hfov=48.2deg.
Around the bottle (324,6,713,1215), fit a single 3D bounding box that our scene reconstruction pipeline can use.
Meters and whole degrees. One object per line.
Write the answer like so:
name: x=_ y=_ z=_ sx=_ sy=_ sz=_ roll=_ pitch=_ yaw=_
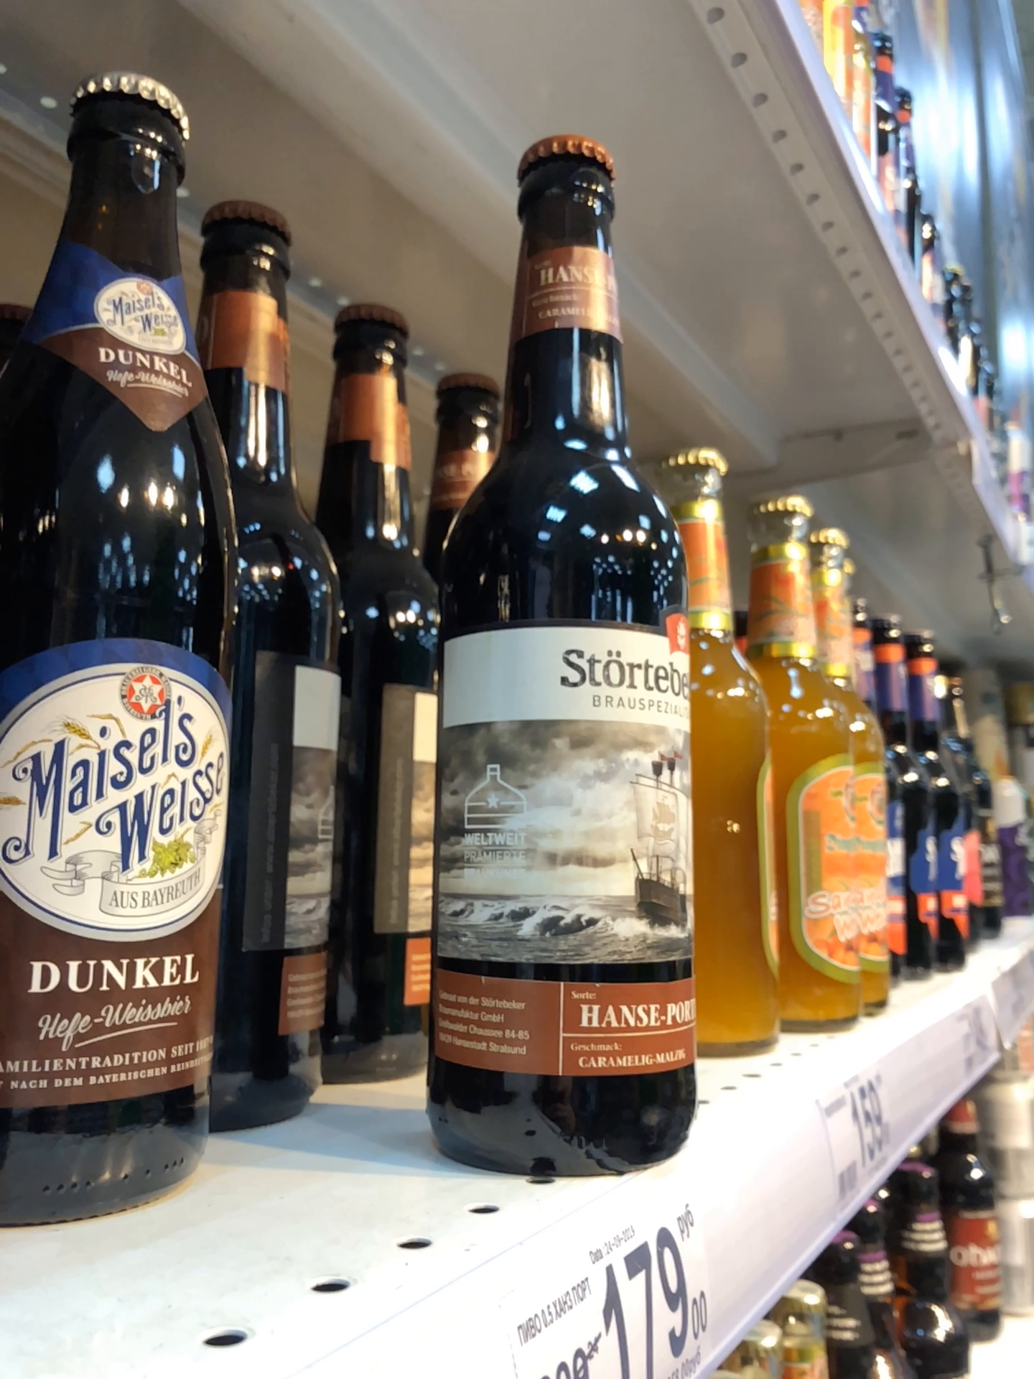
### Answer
bottle: x=0.005 y=-0.023 z=0.310 sx=0.070 sy=0.281 sz=0.070 roll=1 pitch=-9 yaw=0
